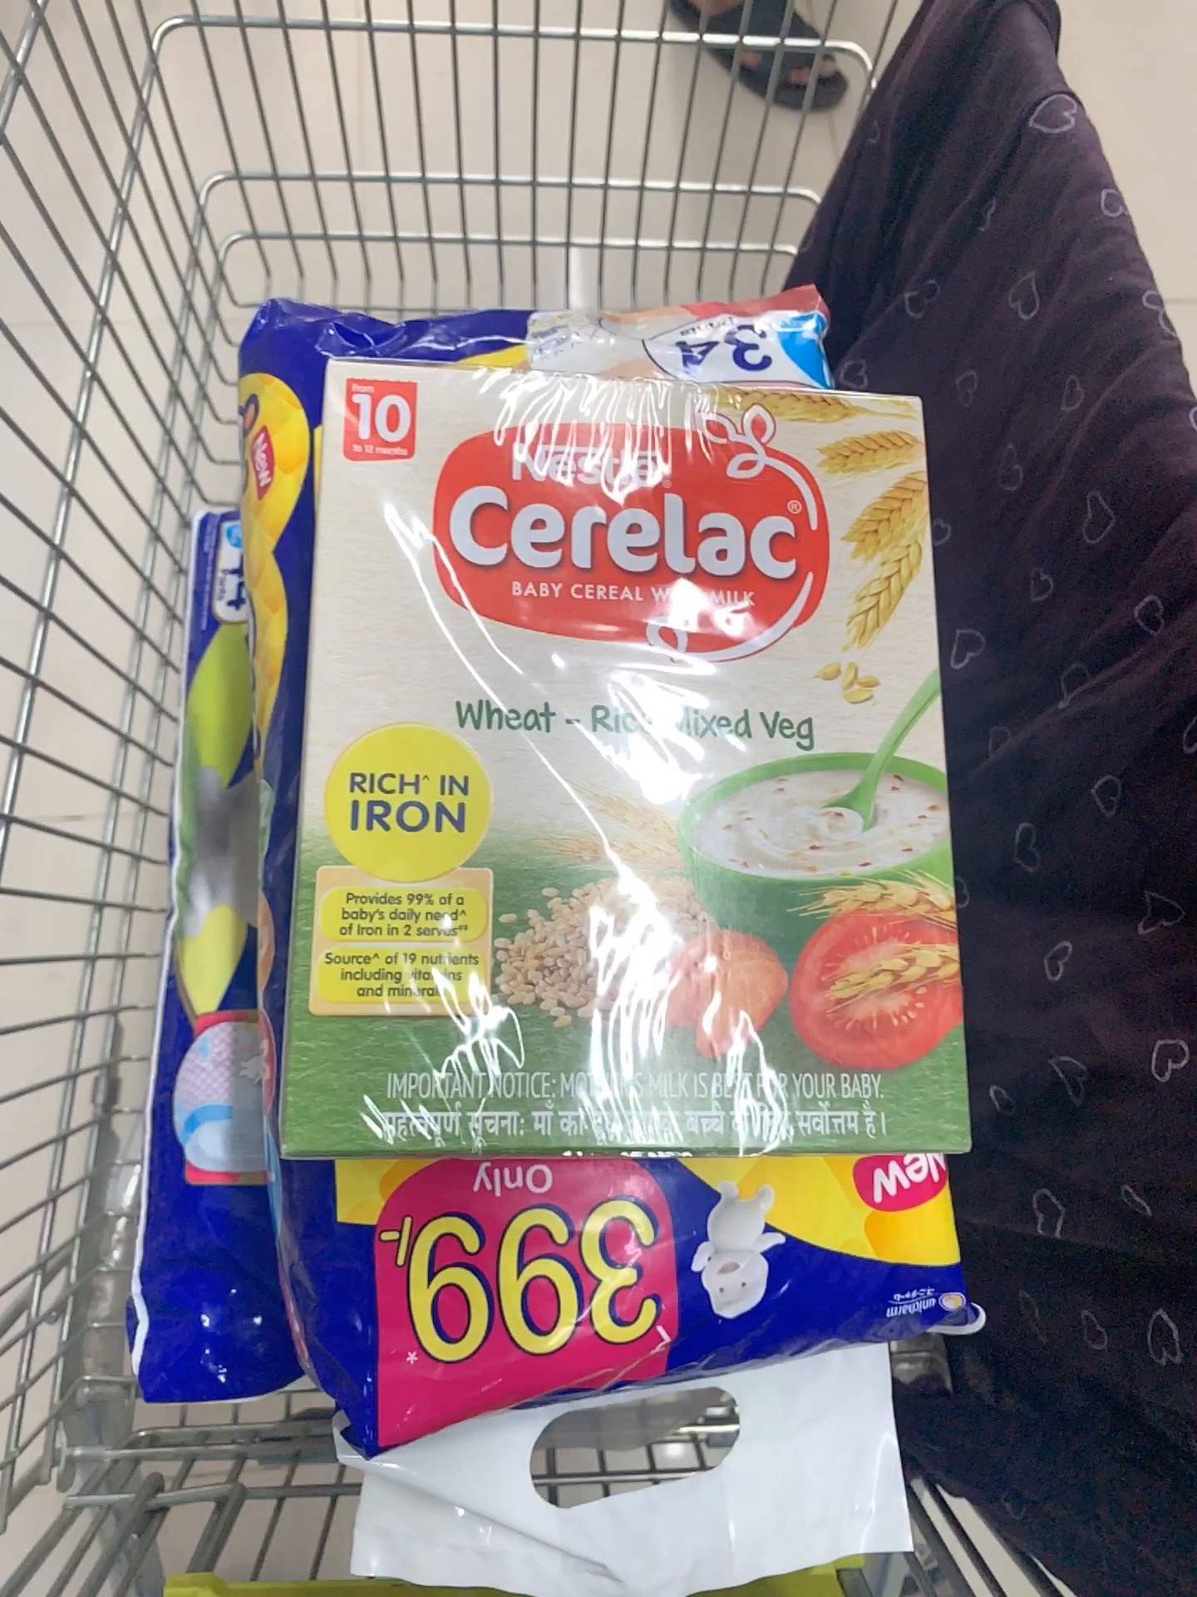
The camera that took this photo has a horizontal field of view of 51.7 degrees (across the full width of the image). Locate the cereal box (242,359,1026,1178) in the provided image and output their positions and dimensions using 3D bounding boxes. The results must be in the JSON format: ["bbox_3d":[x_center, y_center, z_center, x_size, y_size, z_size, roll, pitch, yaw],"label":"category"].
[{"bbox_3d":[0.006,-0.006,0.296,0.160,0.050,0.180,1,76,-7],"label":"cereal box"}]
